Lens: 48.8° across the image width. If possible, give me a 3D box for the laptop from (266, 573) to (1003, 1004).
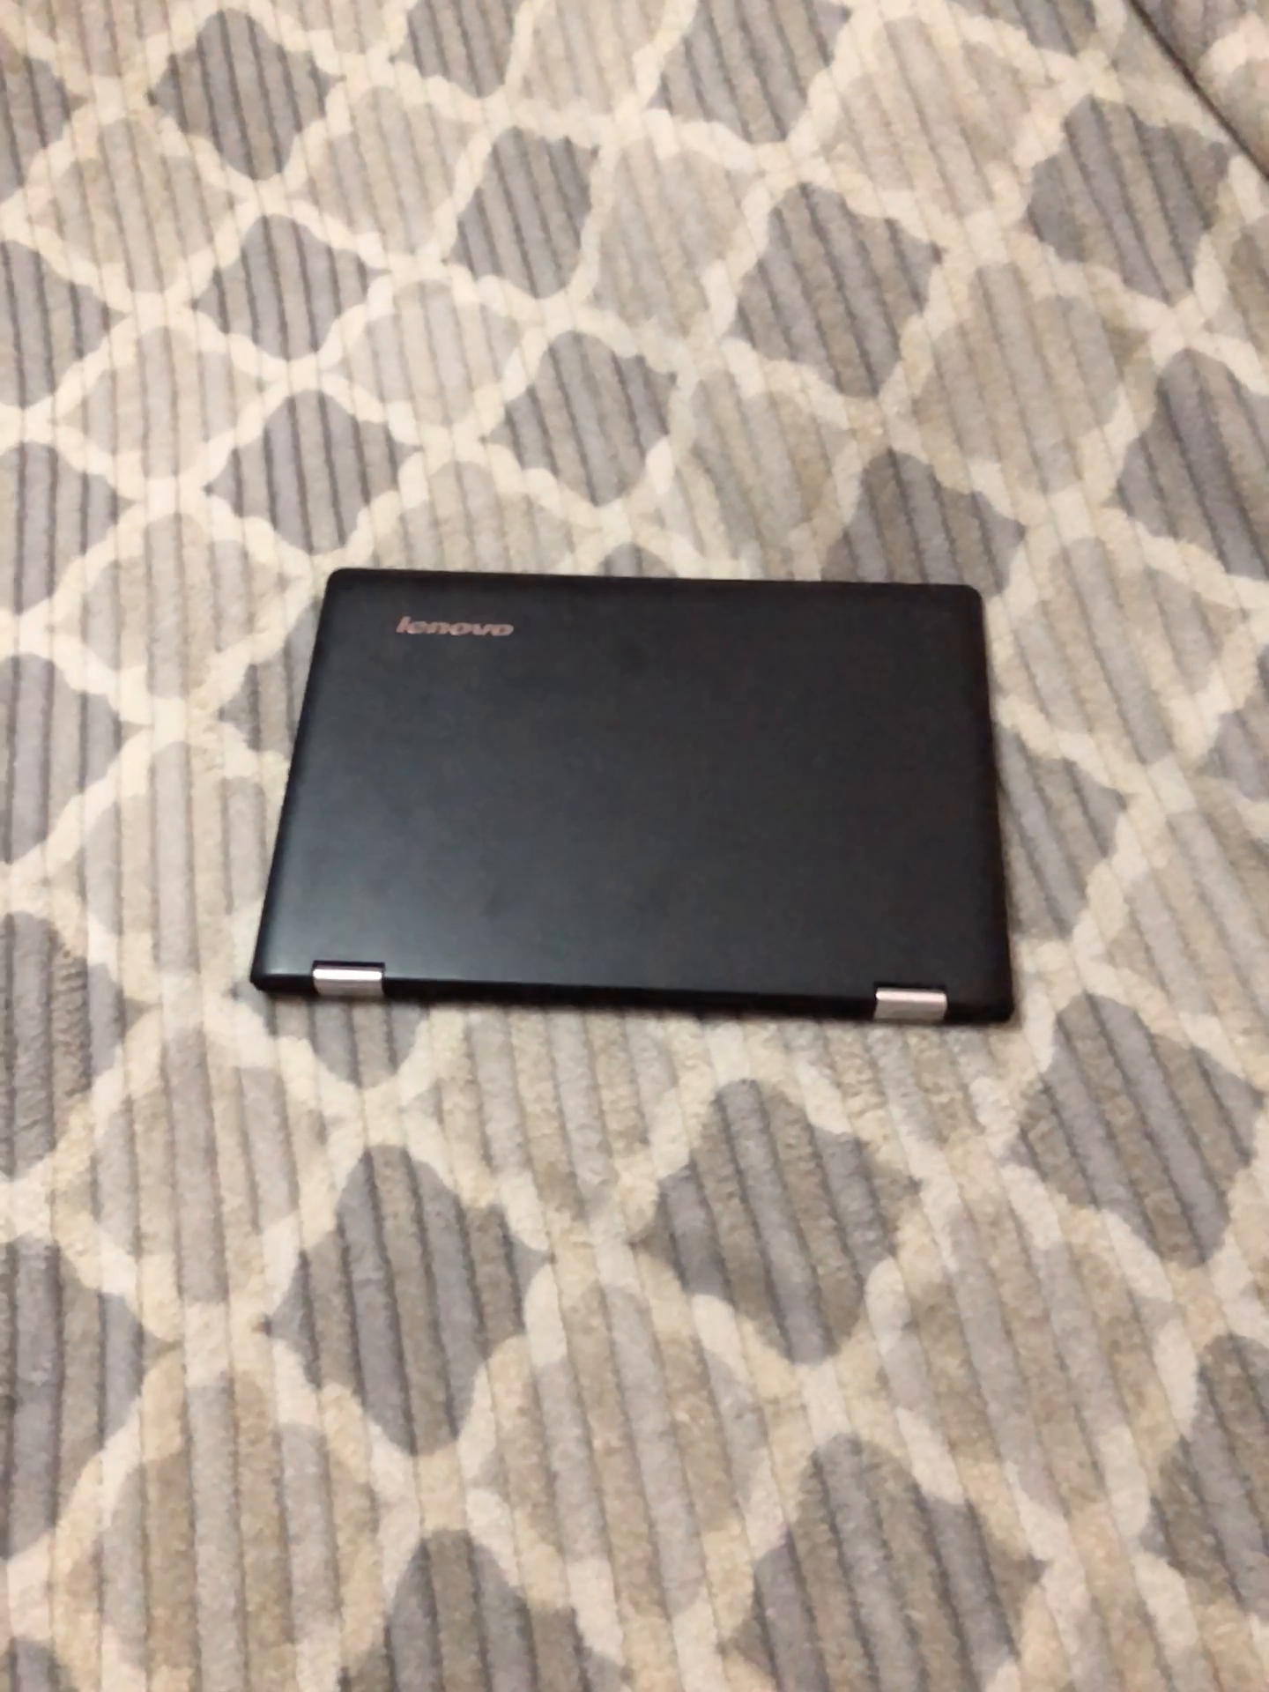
[{"bbox_3d":[0.005,-0.037,0.697,0.339,0.005,0.231,2,63,2],"label":"laptop"}]
